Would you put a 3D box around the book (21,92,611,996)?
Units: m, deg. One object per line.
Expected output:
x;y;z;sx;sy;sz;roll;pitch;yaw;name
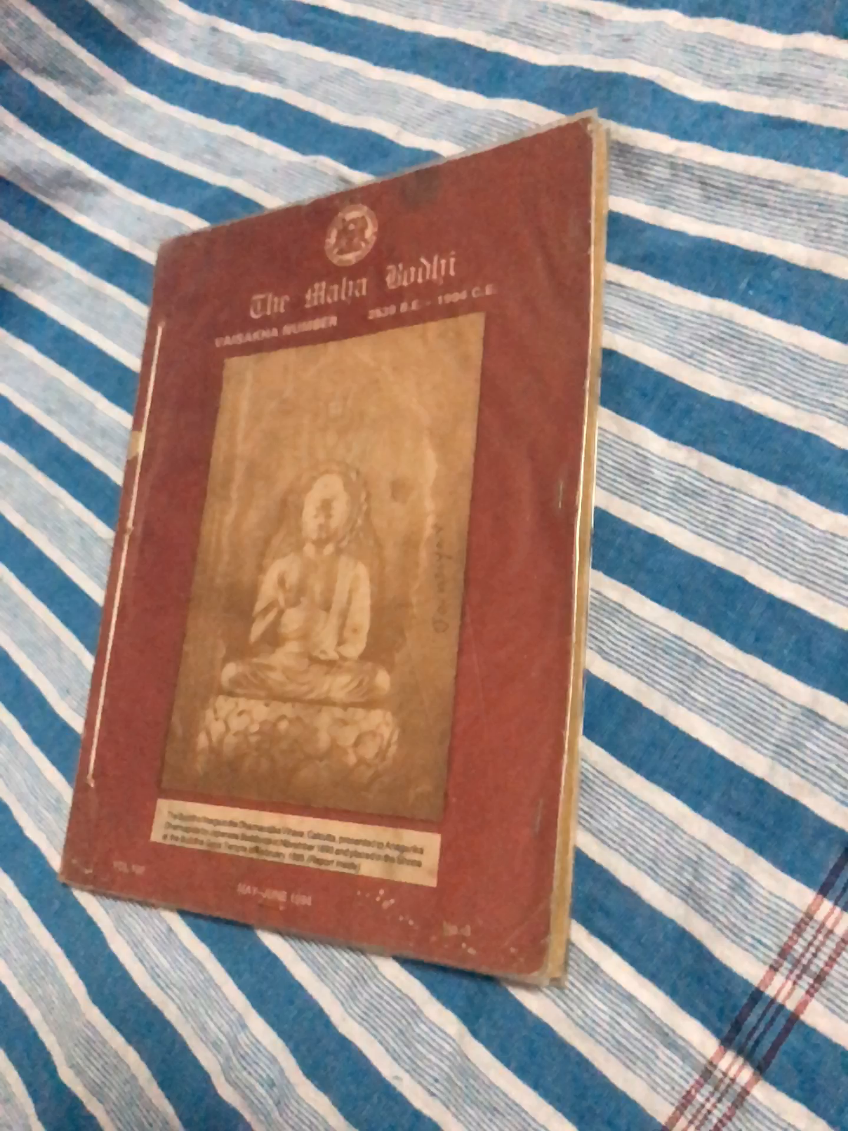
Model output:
-0.036;-0.014;0.302;0.180;0.020;0.250;-2;74;28;book
